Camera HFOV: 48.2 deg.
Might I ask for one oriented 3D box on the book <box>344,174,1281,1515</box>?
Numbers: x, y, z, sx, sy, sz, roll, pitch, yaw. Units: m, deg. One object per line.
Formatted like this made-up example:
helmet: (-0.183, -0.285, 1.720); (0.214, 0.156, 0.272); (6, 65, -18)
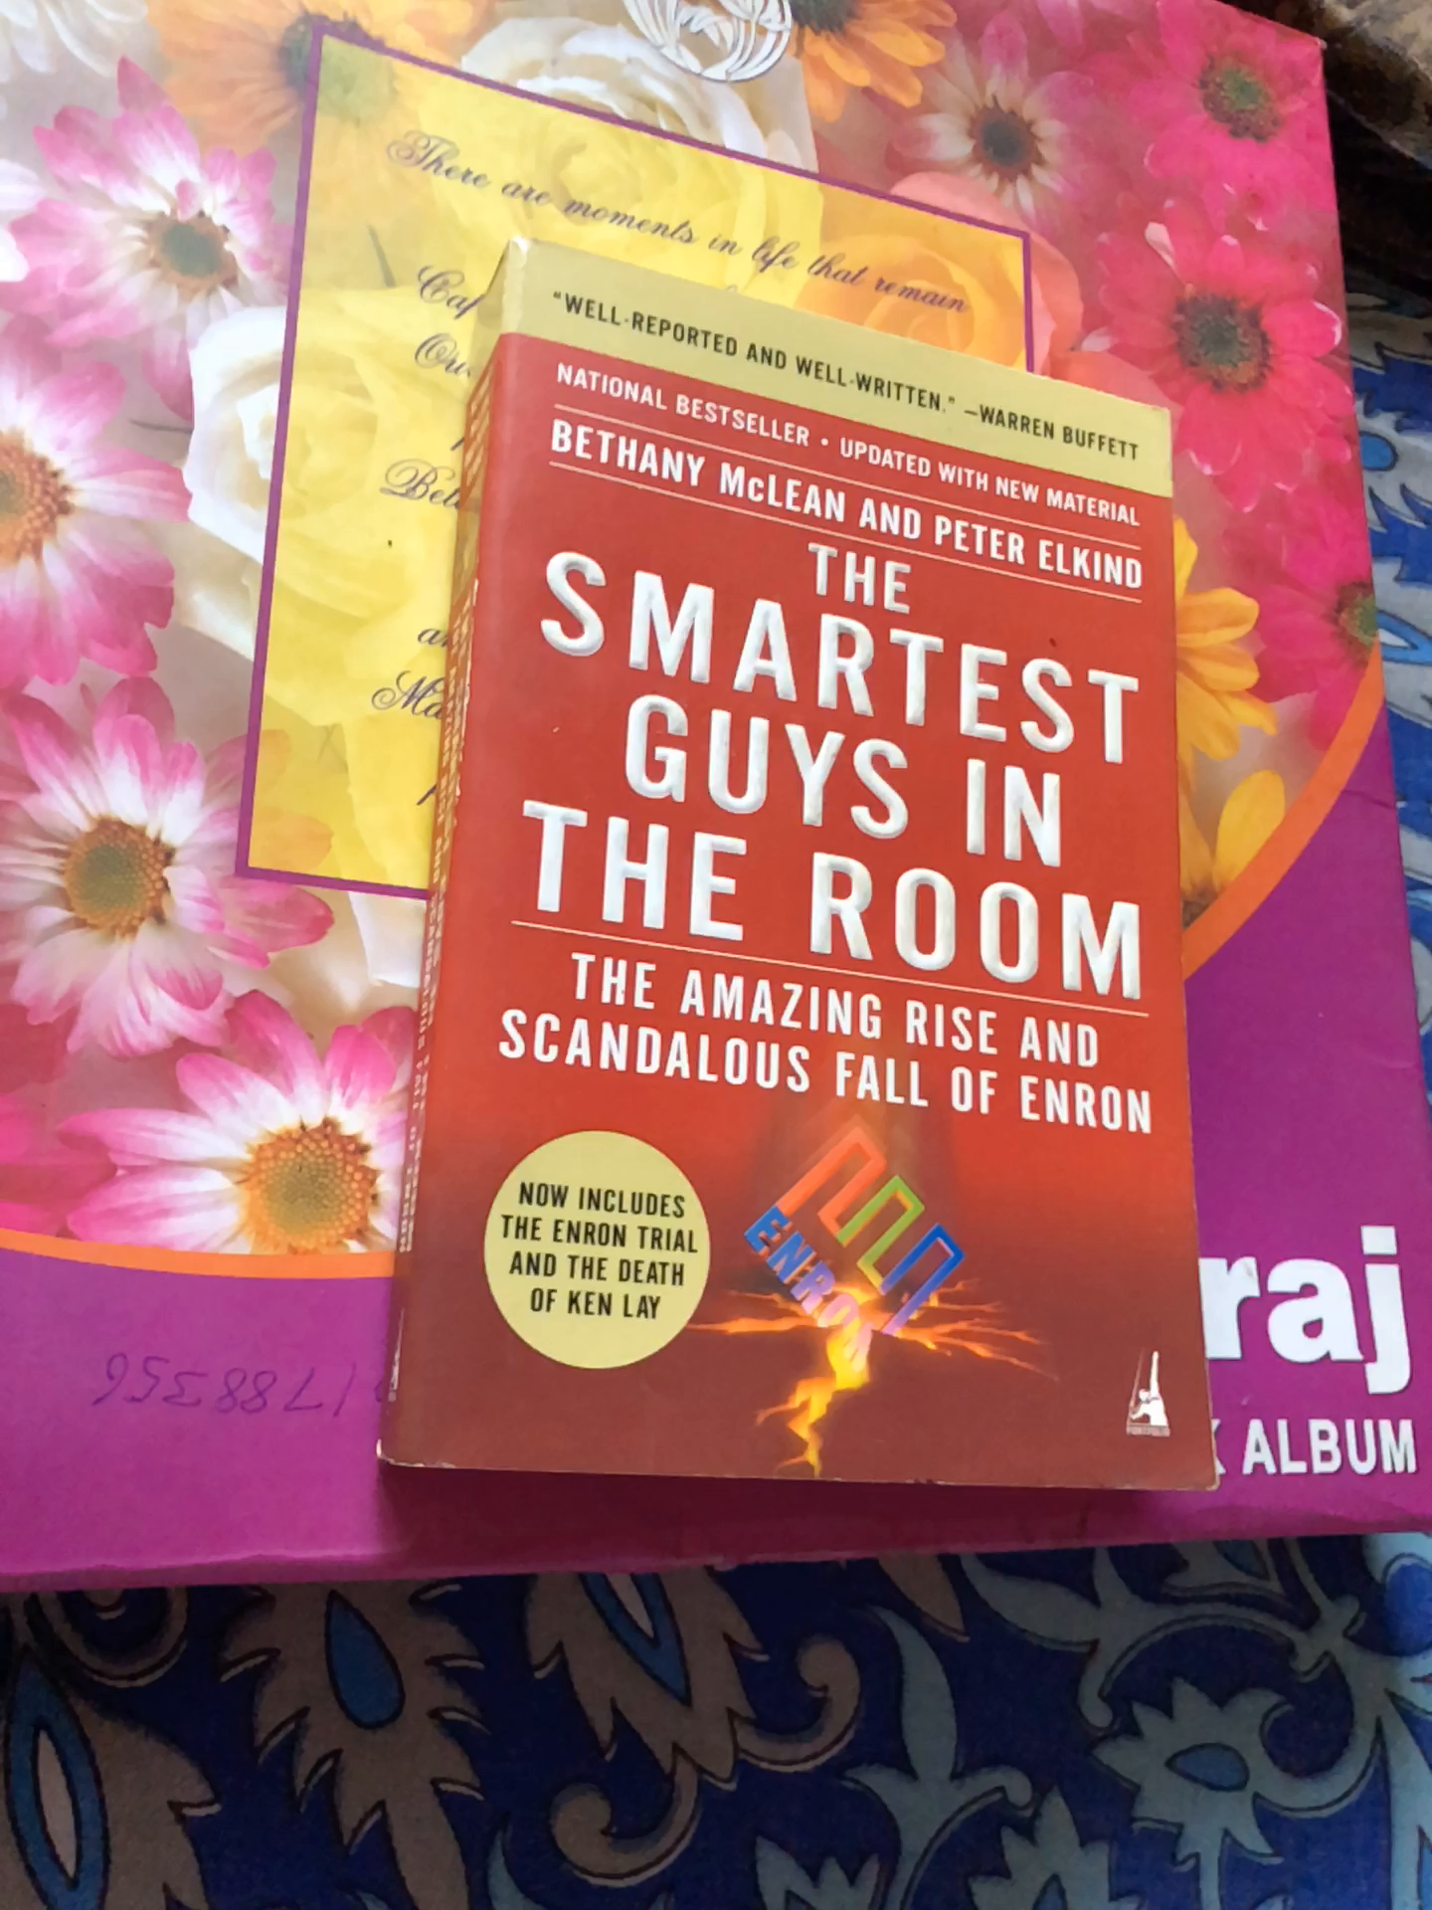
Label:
book: (0.022, -0.018, 0.292); (0.150, 0.040, 0.220); (7, 75, -14)
